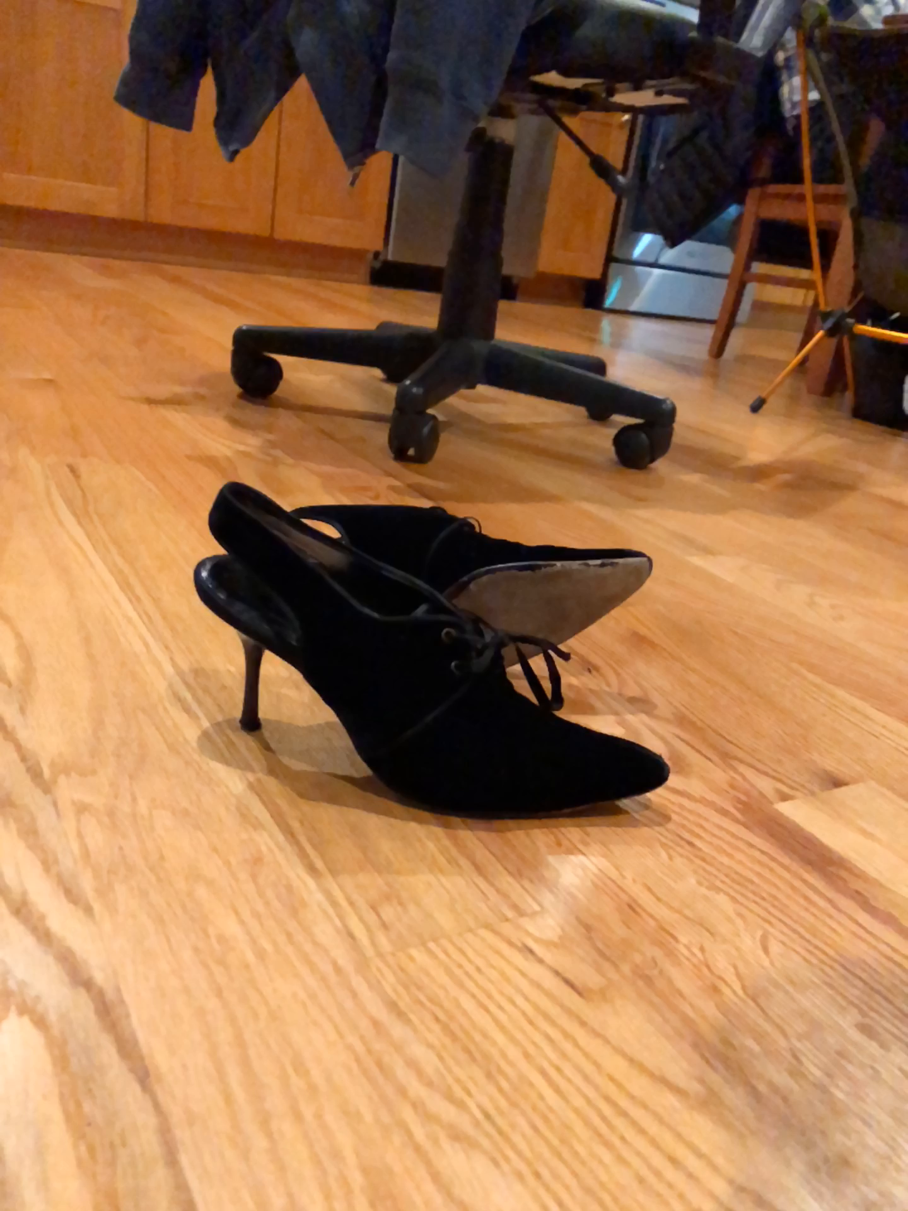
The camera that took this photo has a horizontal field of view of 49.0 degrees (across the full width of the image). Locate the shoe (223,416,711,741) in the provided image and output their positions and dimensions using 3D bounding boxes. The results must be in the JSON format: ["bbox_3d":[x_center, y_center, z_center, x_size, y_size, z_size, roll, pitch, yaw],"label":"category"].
[{"bbox_3d":[0.010,-0.026,0.587,0.252,0.107,0.118,14,22,12],"label":"shoe"}]

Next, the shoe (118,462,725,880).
[{"bbox_3d":[-0.015,0.022,0.478,0.252,0.117,0.108,12,20,7],"label":"shoe"}]
